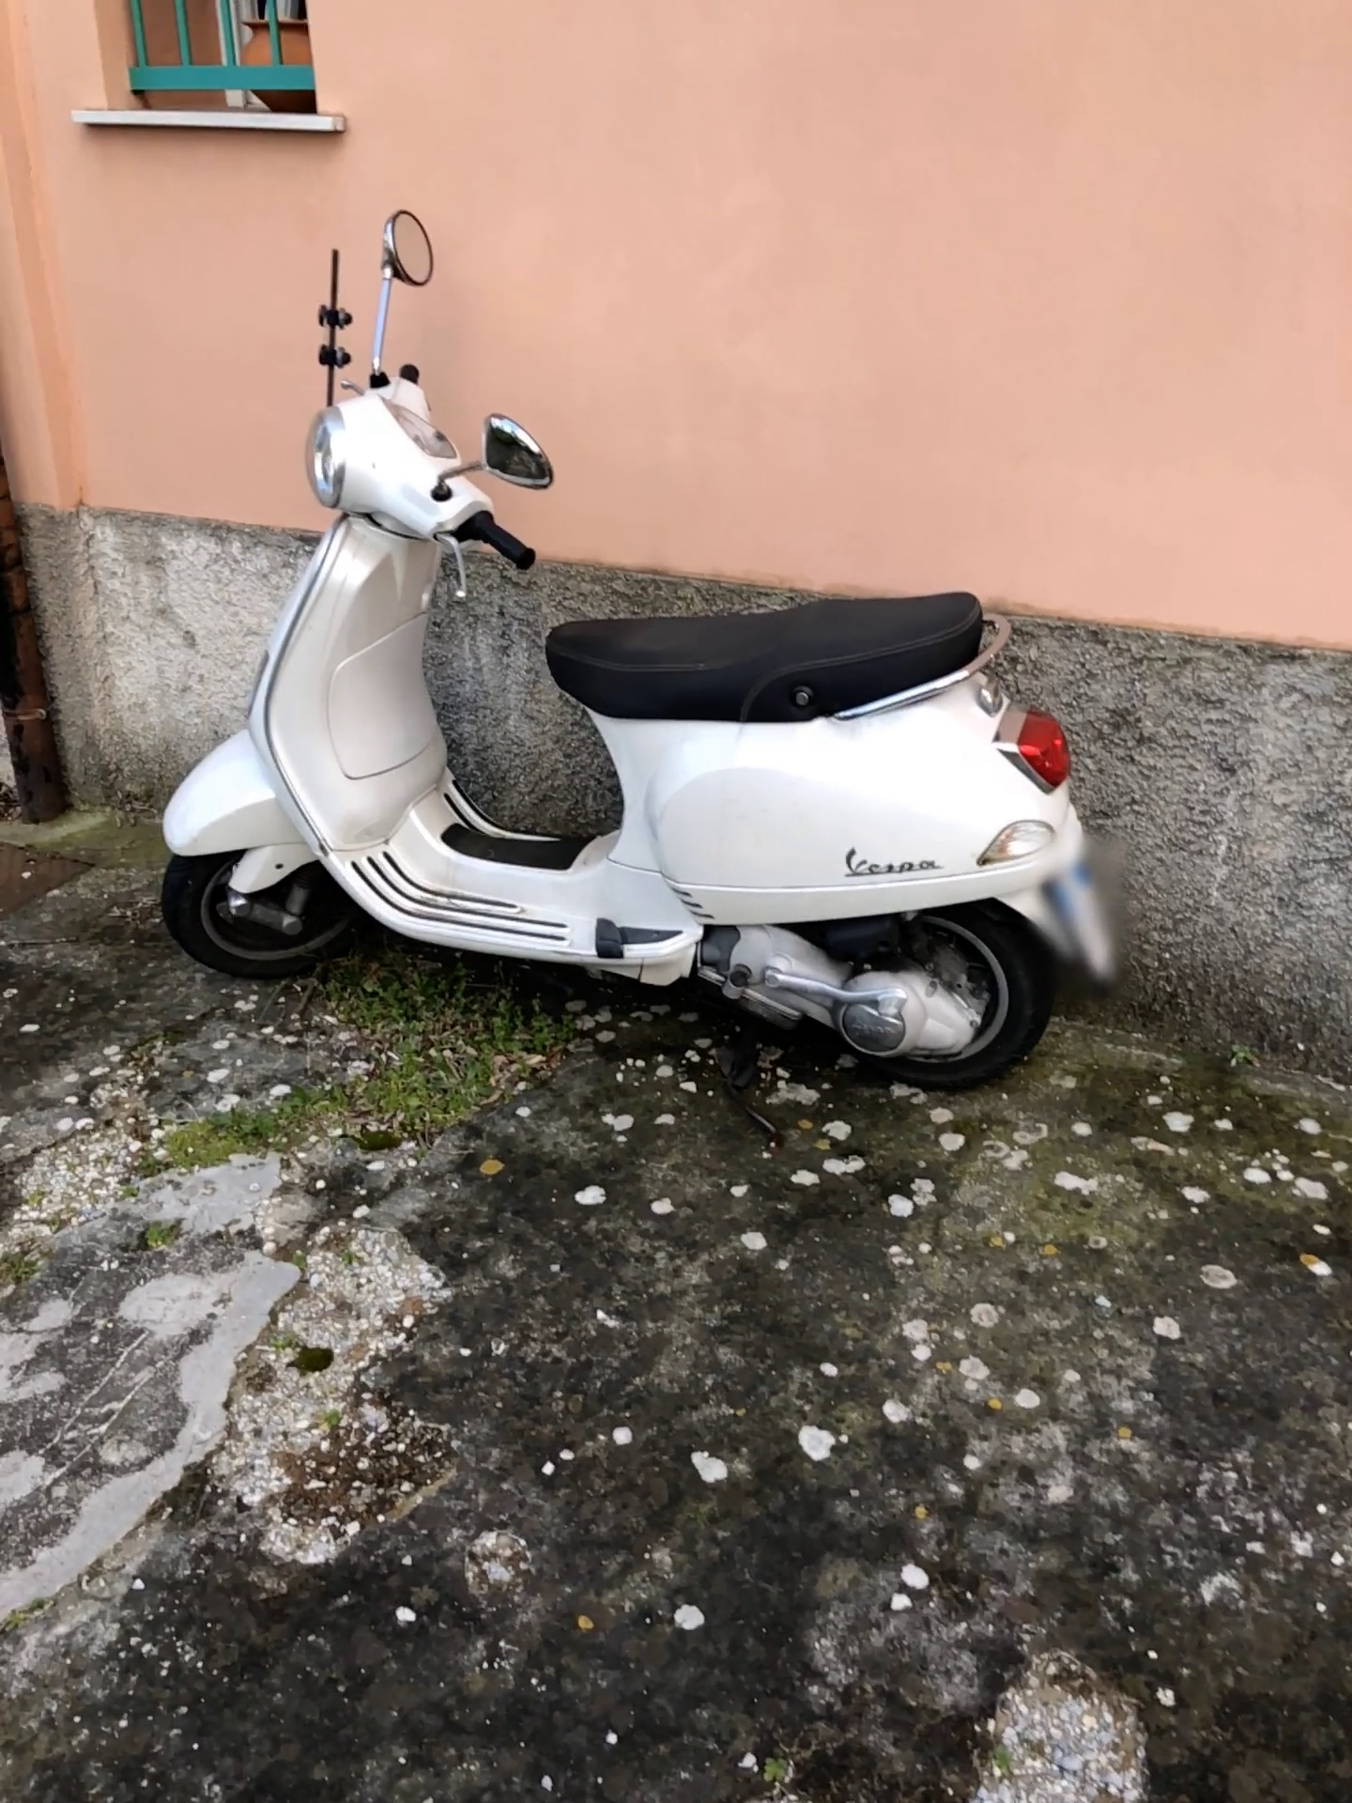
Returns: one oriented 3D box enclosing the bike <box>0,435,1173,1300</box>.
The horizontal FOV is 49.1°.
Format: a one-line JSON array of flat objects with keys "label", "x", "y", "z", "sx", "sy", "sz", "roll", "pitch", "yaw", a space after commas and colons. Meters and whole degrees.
[{"label": "bike", "x": -0.217, "y": -0.114, "z": 2.321, "sx": 1.657, "sy": 1.085, "sz": 0.647, "roll": 6, "pitch": 25, "yaw": 15}]
